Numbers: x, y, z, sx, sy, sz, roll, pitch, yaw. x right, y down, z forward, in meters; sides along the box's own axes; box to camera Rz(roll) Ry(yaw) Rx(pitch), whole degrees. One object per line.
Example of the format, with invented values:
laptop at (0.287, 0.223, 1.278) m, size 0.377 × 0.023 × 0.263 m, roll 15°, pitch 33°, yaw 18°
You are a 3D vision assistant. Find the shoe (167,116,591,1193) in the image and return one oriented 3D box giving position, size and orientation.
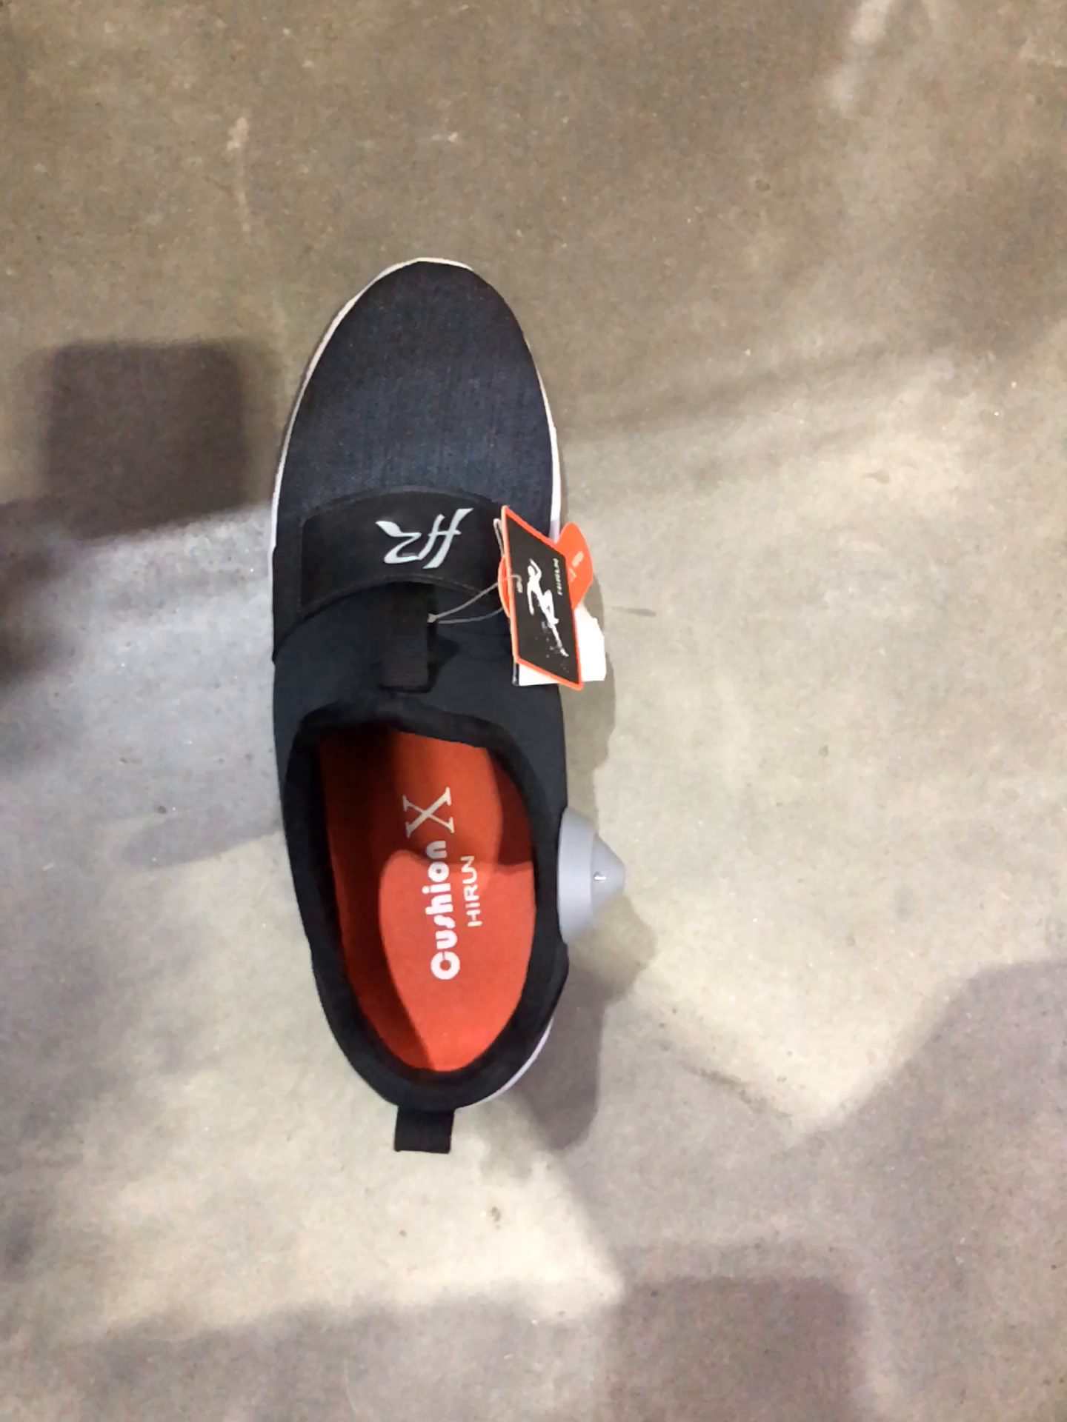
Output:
shoe at (-0.044, -0.015, 0.361) m, size 0.100 × 0.130 × 0.270 m, roll -2°, pitch 84°, yaw -3°
